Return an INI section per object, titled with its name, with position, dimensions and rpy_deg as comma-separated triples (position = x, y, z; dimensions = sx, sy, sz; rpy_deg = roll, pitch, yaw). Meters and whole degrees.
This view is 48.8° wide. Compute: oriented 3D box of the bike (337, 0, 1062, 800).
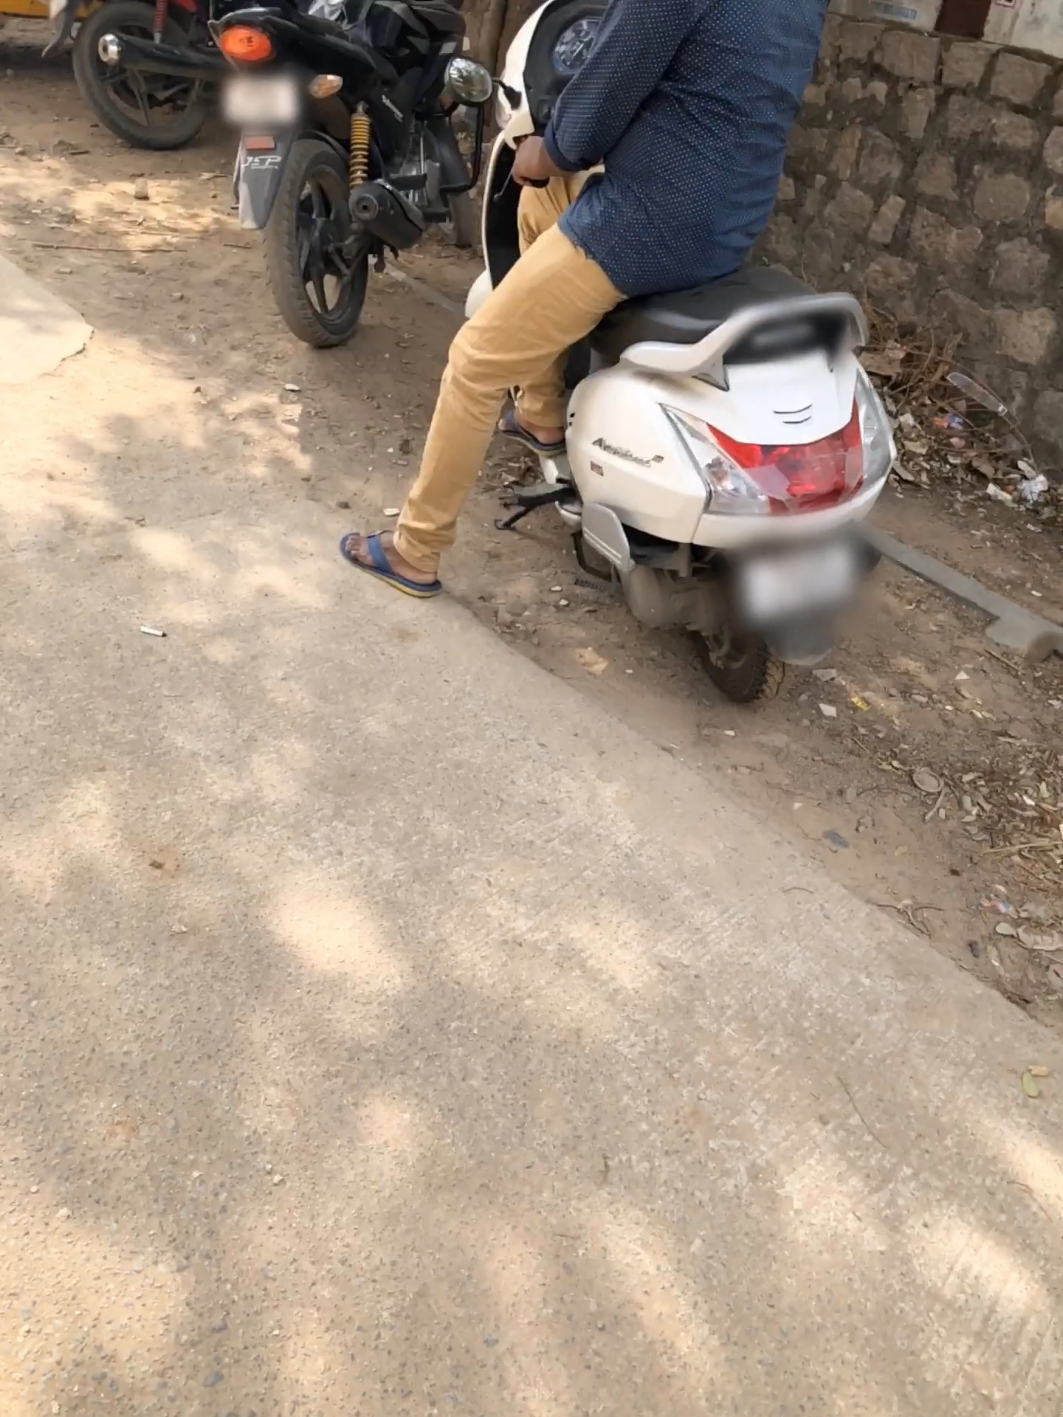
[bike]
position = 0.134, -0.836, 2.422
dimensions = 0.623, 1.199, 1.595
rpy_deg = -5, 37, -23
